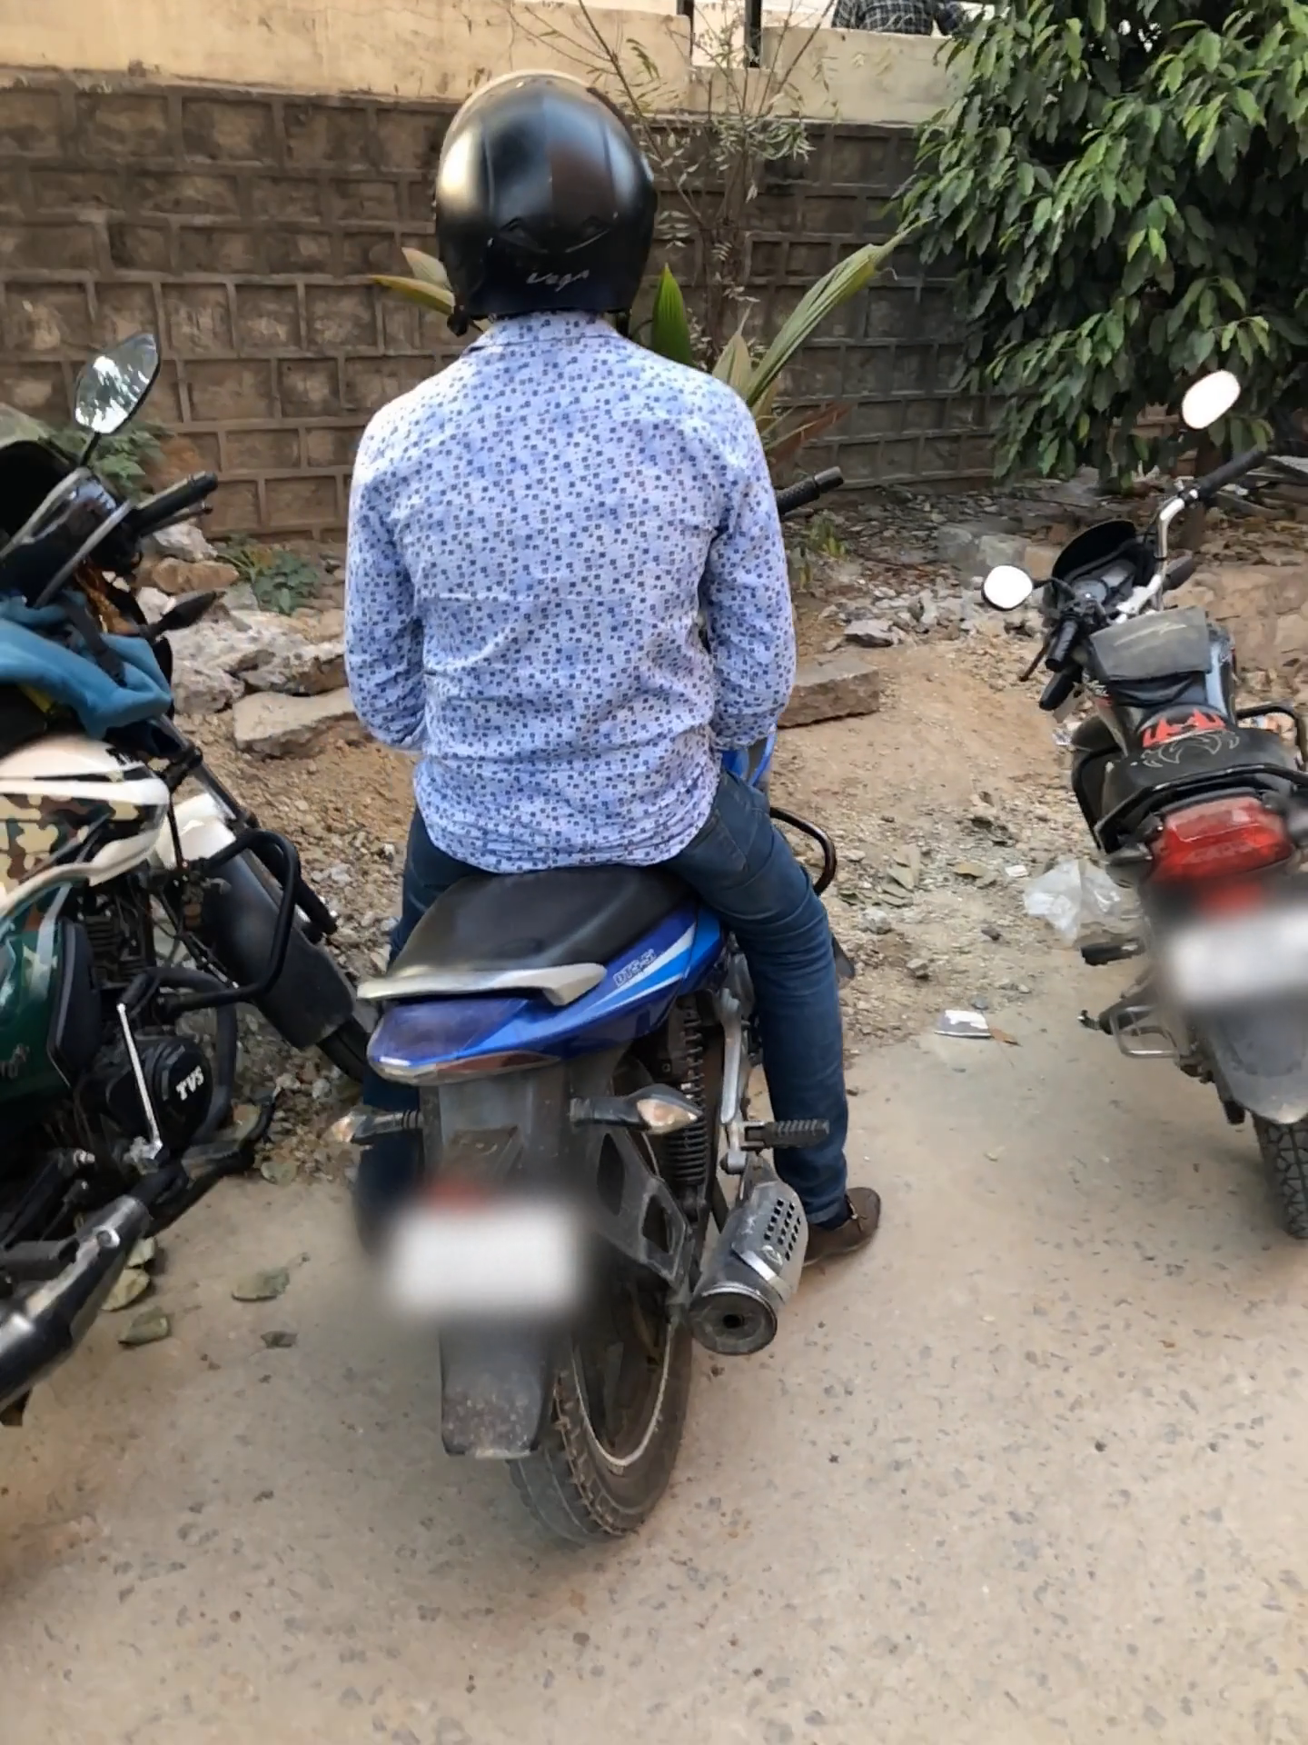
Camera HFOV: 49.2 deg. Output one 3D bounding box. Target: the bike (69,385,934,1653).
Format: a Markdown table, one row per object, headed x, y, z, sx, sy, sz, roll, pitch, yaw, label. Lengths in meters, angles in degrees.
| x | y | z | sx | sy | sz | roll | pitch | yaw | label |
| --- | --- | --- | --- | --- | --- | --- | --- | --- | --- |
| -0.050 | -0.010 | 2.130 | 0.754 | 1.076 | 1.585 | 5 | 27 | 7 | bike |
